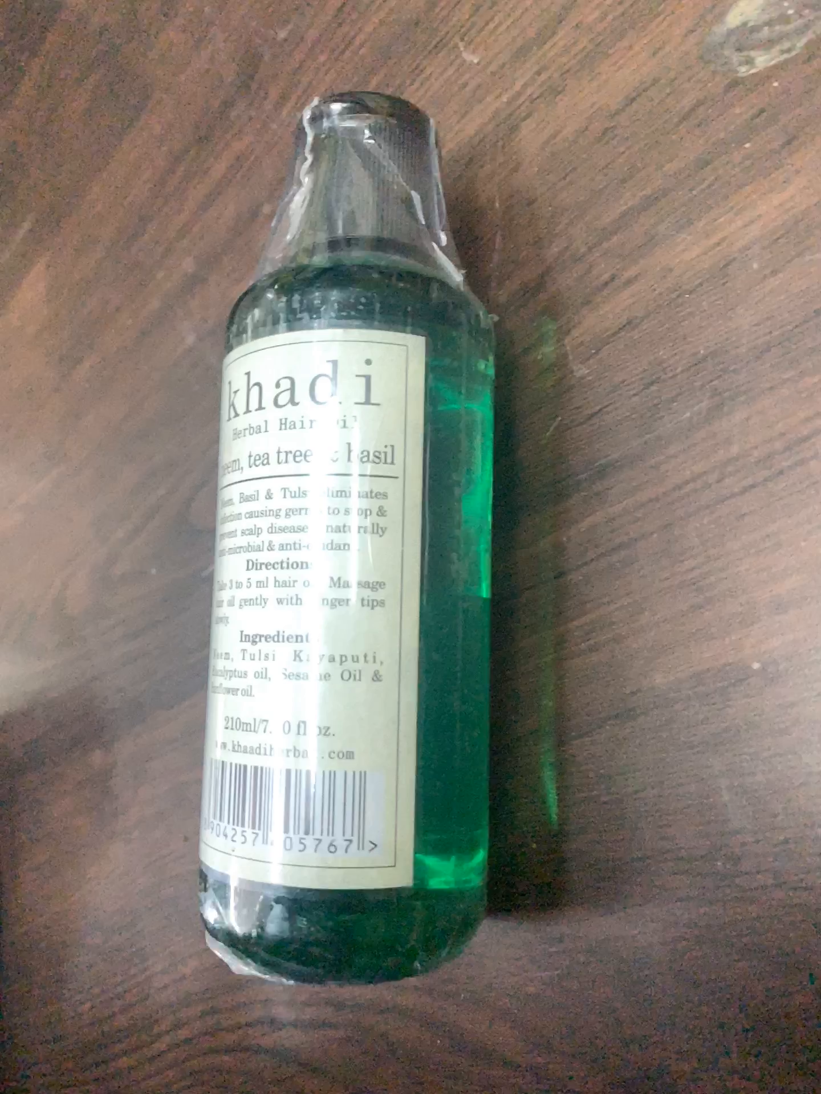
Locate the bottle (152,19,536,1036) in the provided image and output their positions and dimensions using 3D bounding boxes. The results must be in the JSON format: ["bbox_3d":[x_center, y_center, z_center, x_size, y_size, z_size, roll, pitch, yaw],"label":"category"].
[{"bbox_3d":[-0.006,-0.005,0.157,0.050,0.050,0.150,-1,82,17],"label":"bottle"}]
